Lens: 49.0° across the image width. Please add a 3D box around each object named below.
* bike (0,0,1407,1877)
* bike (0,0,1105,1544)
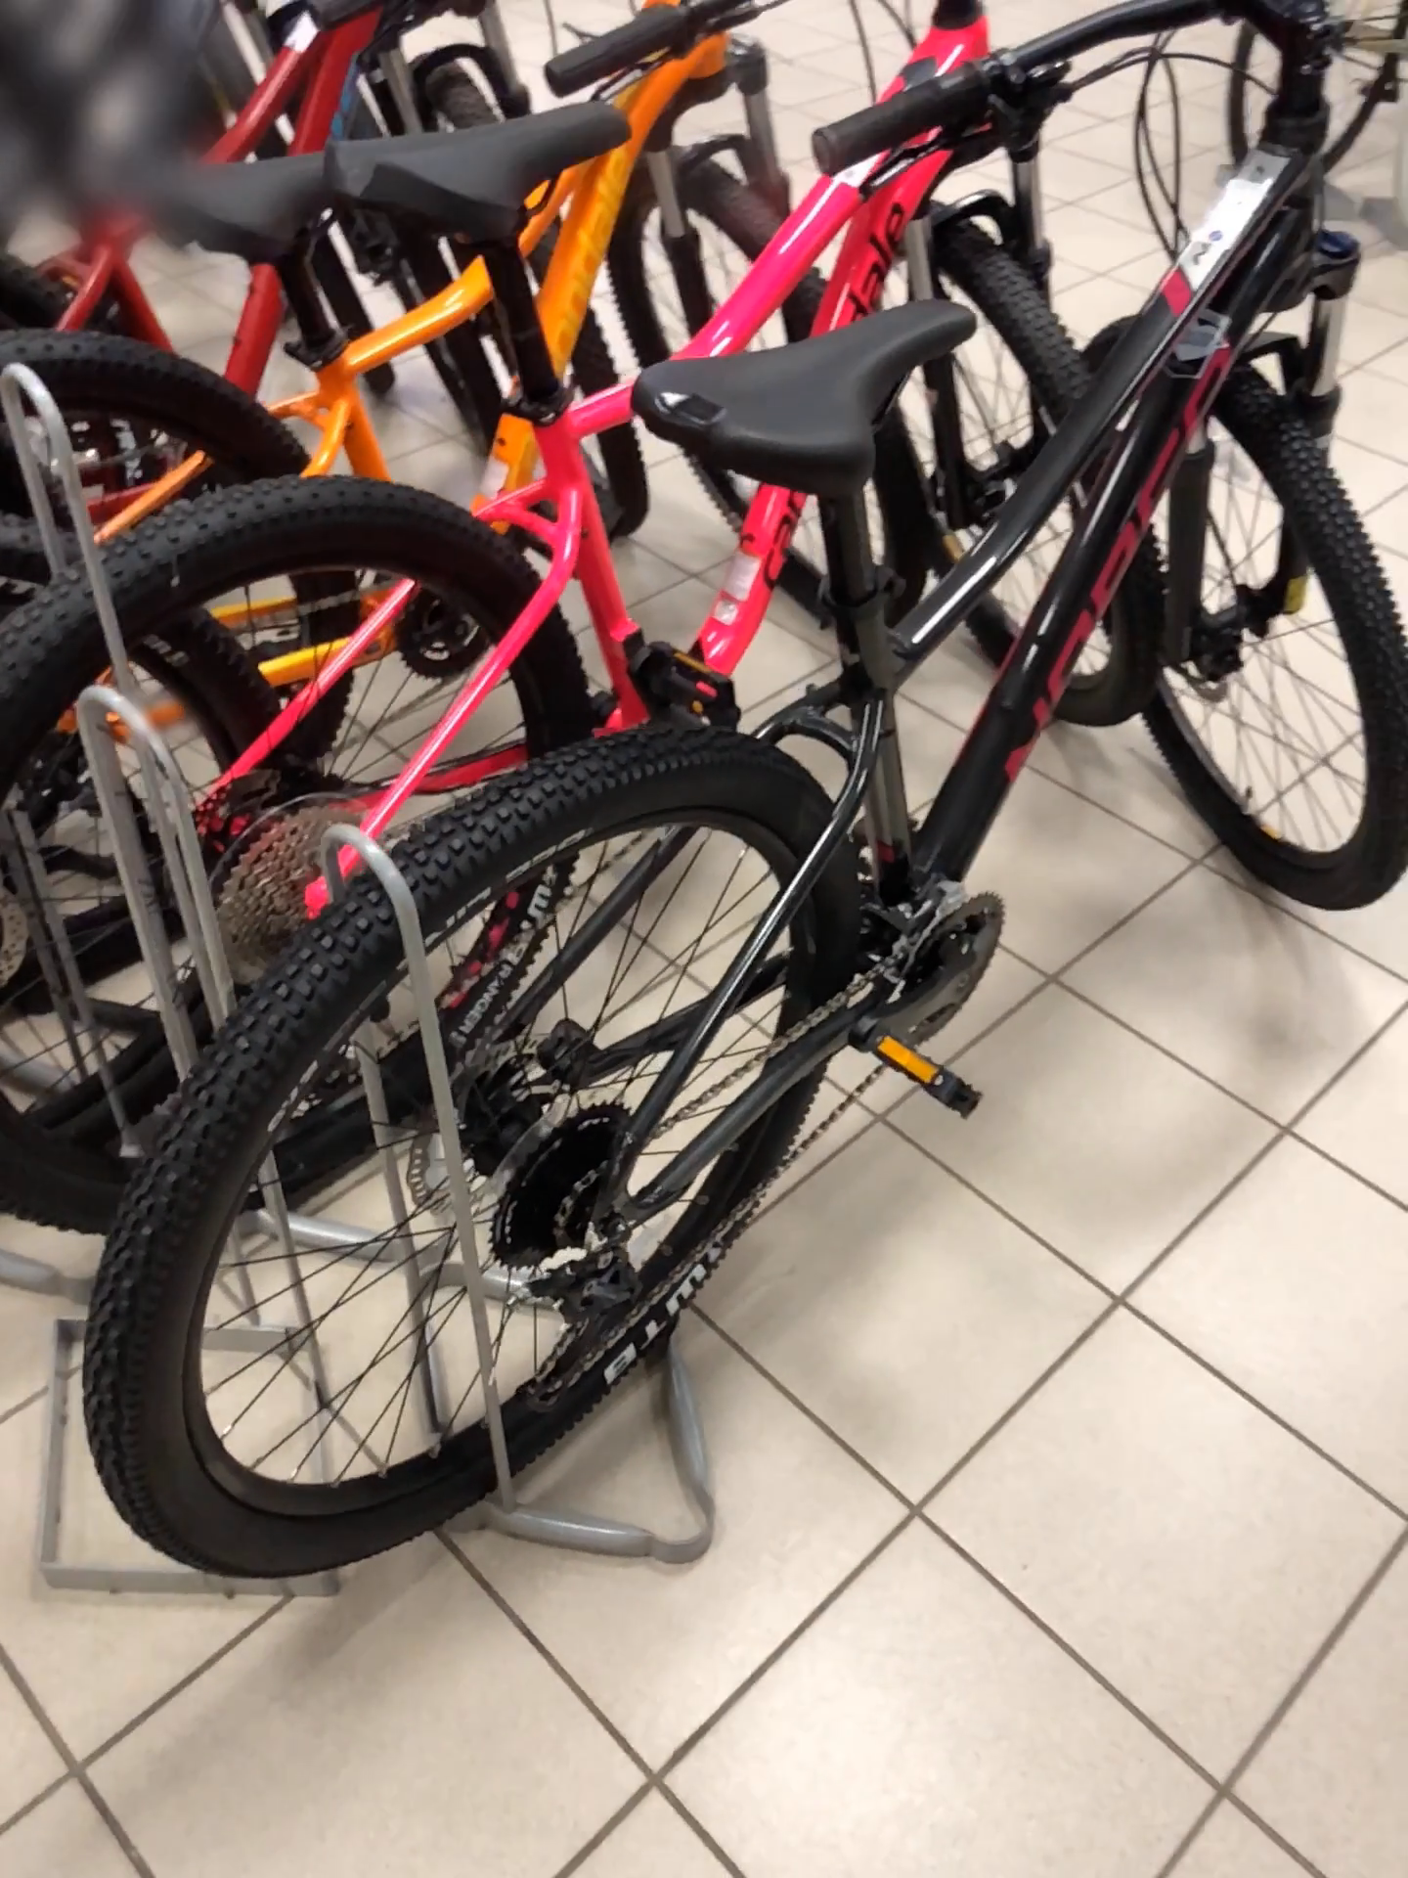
[{"bbox_3d":[0.003,-0.291,1.368,0.685,1.101,1.586,25,46,22],"label":"bike"},{"bbox_3d":[-0.261,-0.534,1.562,0.653,1.074,1.572,25,48,23],"label":"bike"}]
